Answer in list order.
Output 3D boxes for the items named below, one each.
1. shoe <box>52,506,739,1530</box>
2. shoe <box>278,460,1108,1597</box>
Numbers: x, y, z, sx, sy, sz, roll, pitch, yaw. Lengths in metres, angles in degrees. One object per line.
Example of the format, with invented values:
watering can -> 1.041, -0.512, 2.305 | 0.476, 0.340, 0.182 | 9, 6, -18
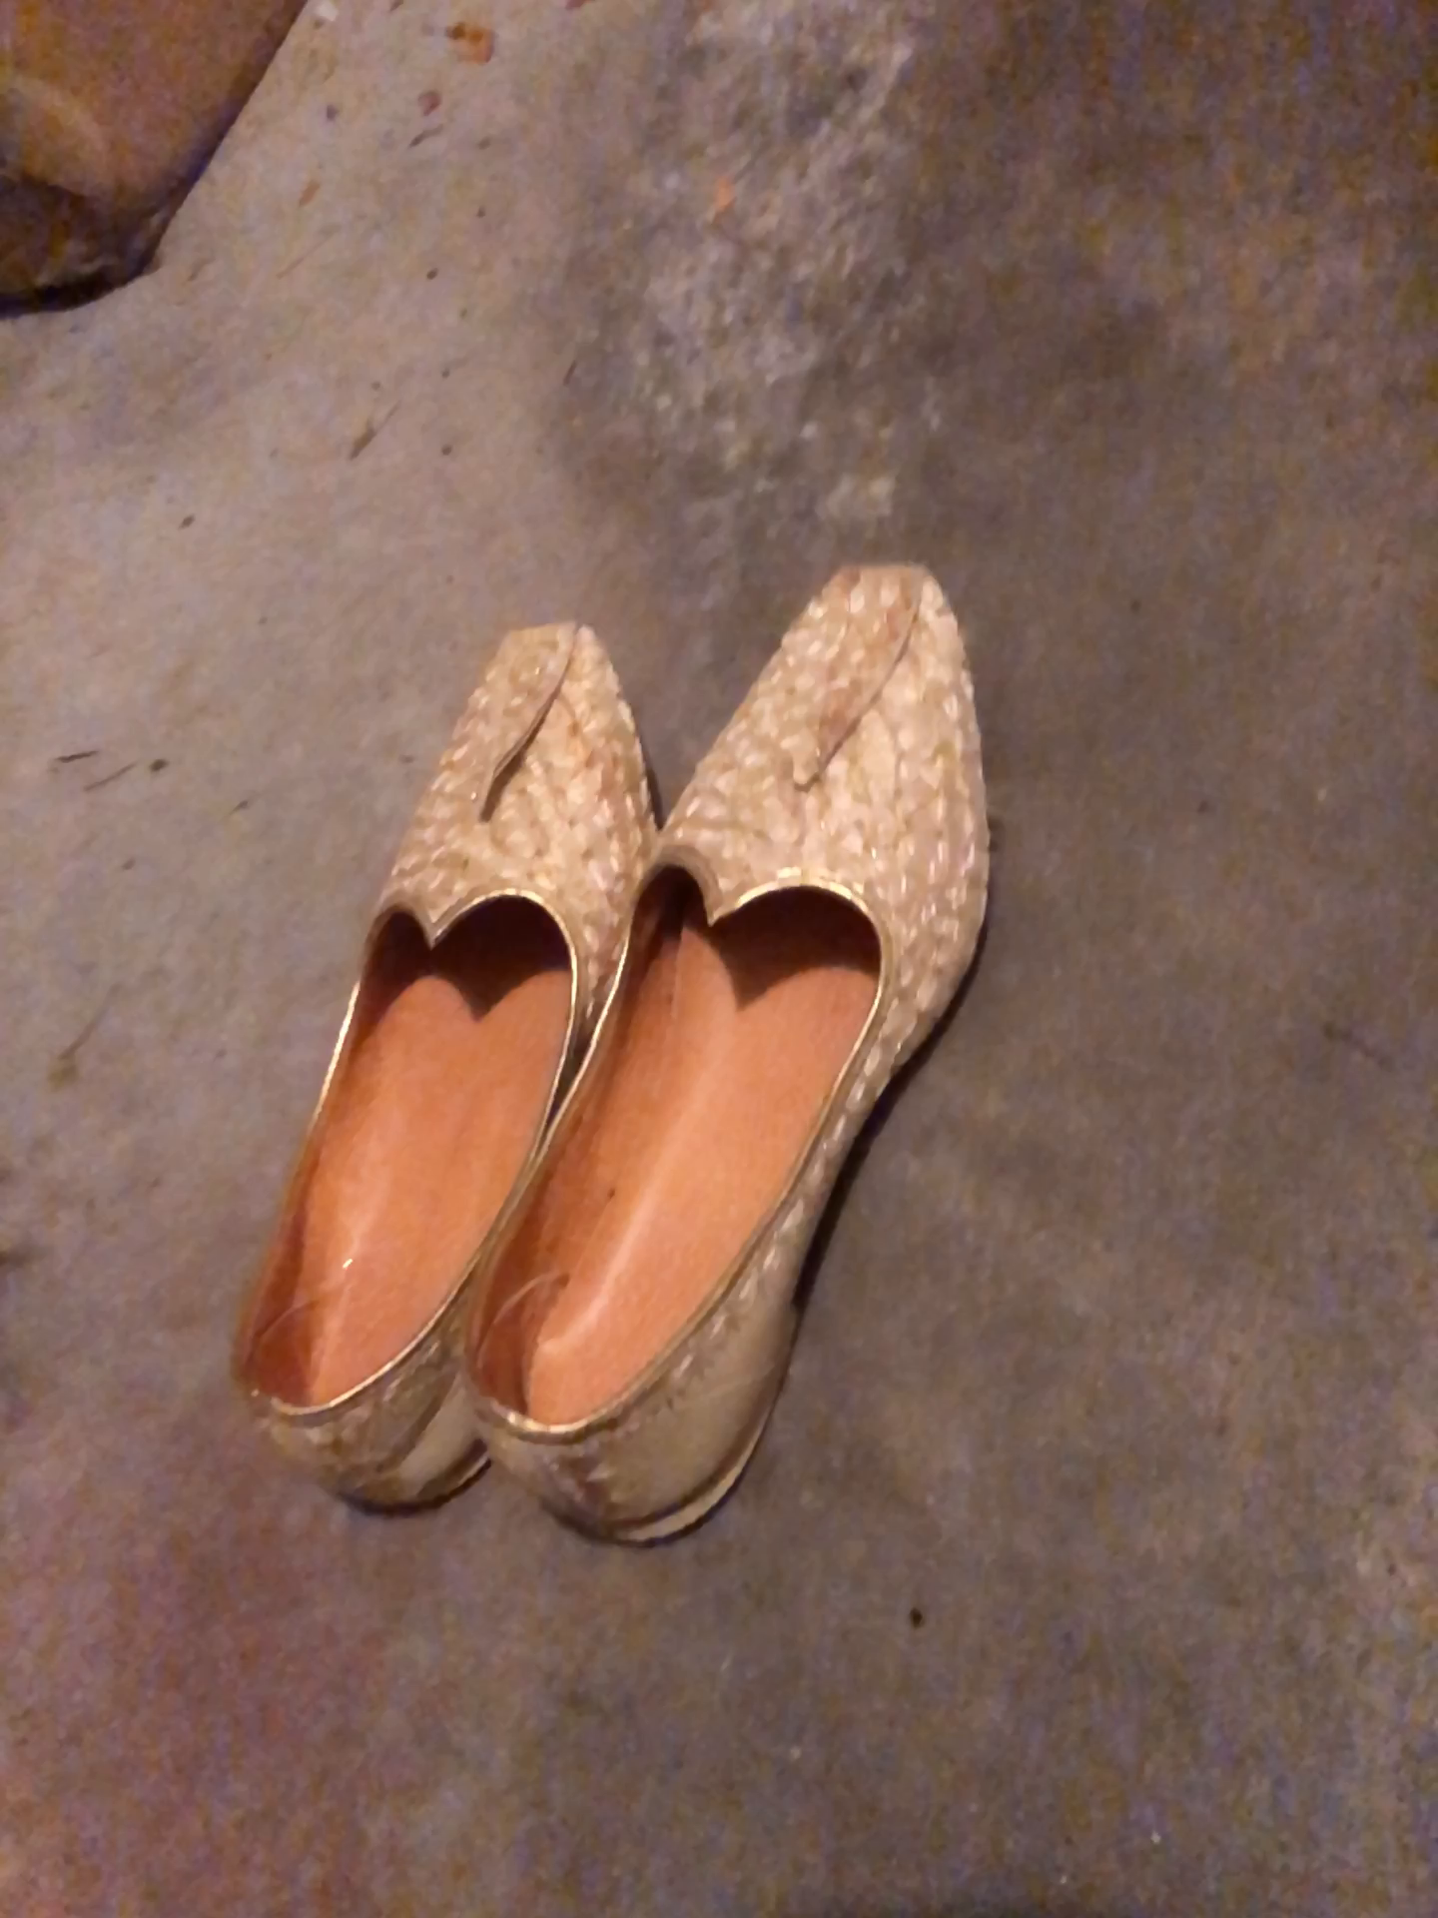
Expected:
shoe -> -0.081, 0.009, 0.460 | 0.104, 0.073, 0.274 | -1, 63, 28
shoe -> 0.004, 0.005, 0.414 | 0.104, 0.073, 0.274 | 10, 69, 32
